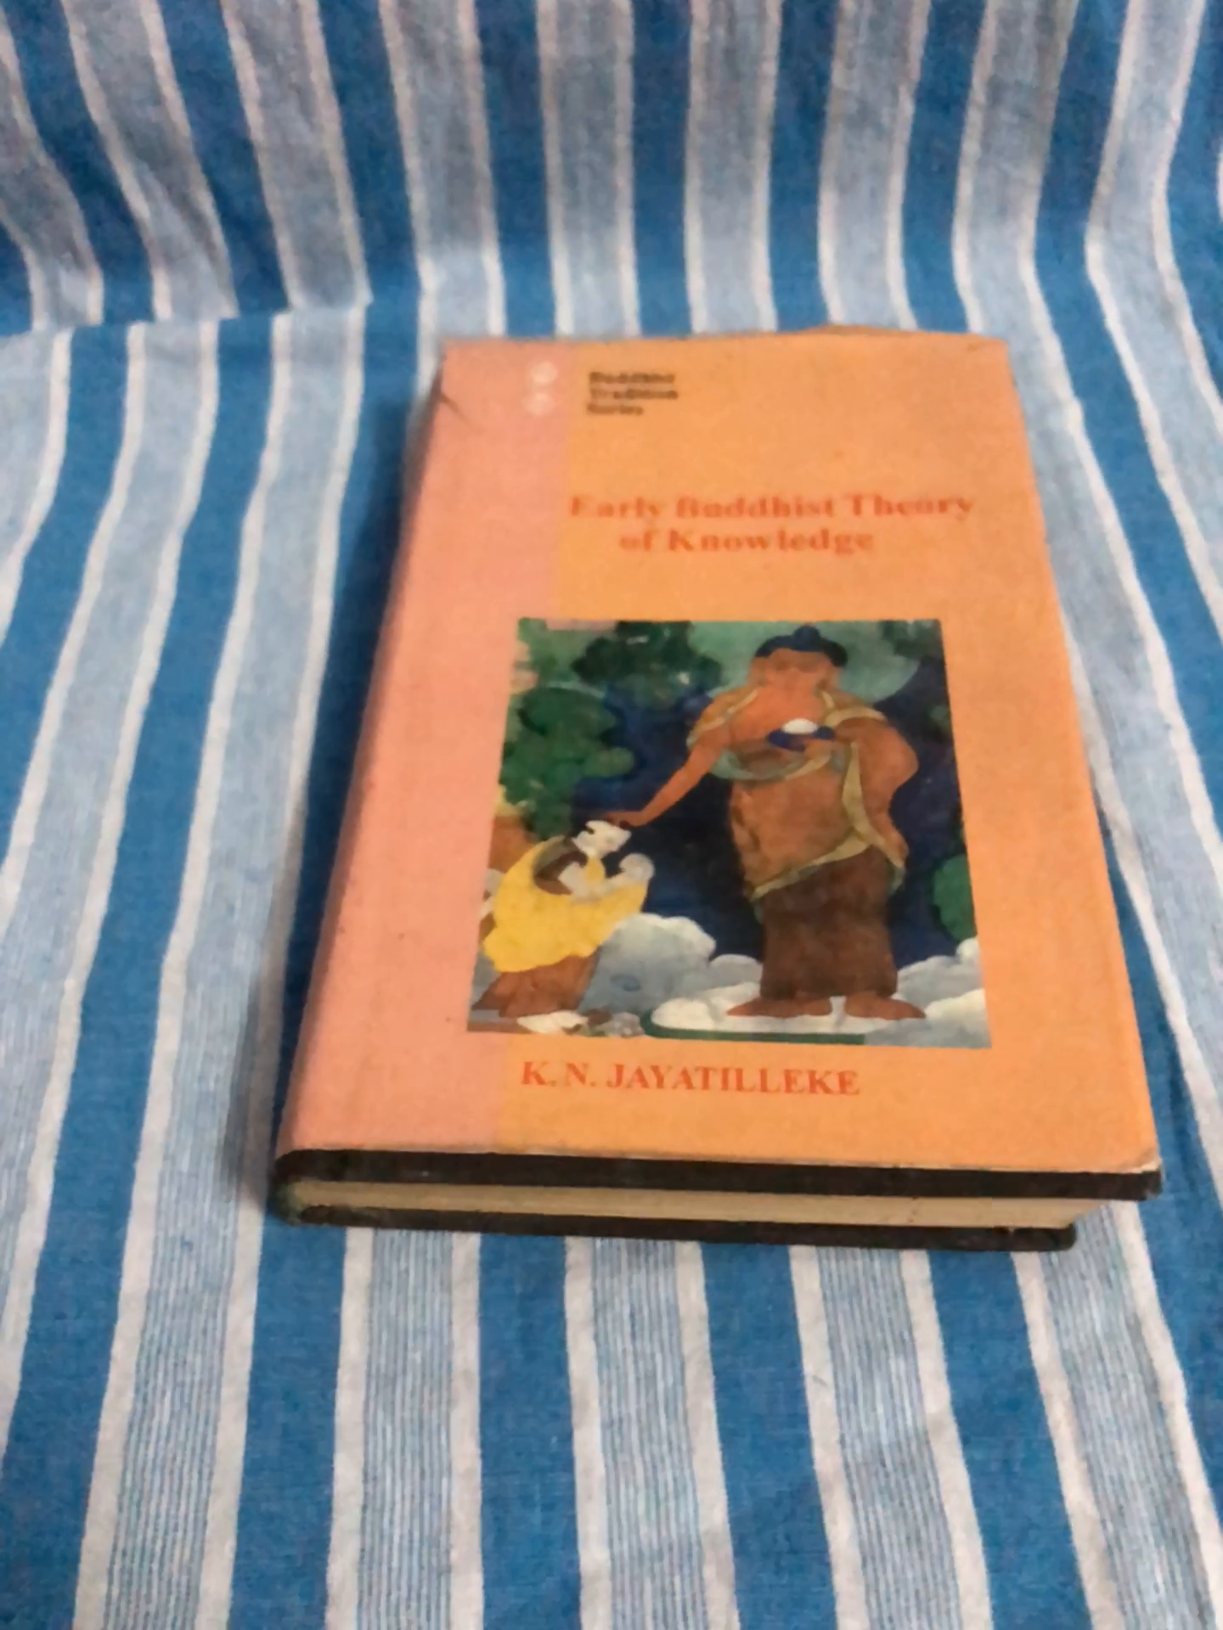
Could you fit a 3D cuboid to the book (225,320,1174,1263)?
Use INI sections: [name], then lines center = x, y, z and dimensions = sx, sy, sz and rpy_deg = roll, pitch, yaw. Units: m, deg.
[book]
center = 0.018, -0.023, 0.291
dimensions = 0.150, 0.030, 0.221
rpy_deg = 1, 56, 2
